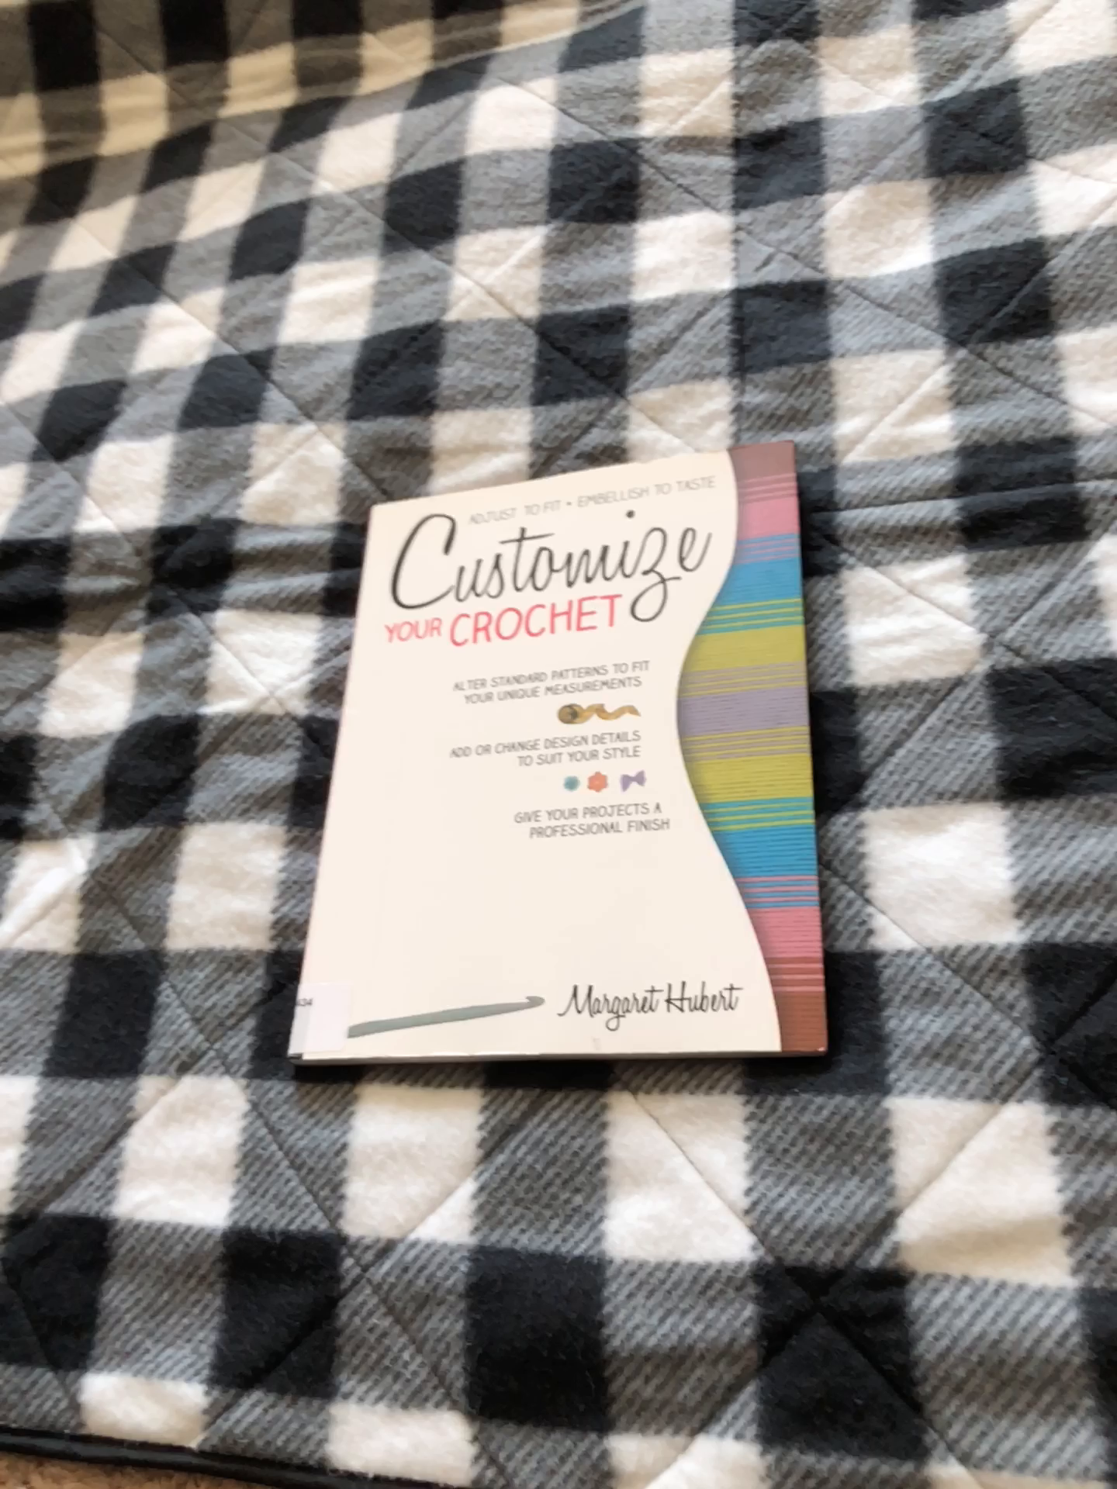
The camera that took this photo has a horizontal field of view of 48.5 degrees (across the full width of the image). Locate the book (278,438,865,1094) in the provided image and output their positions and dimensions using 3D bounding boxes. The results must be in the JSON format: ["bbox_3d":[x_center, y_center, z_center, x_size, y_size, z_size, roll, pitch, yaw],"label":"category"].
[{"bbox_3d":[0.006,0.002,0.445,0.186,0.020,0.238,-5,61,16],"label":"book"}]
